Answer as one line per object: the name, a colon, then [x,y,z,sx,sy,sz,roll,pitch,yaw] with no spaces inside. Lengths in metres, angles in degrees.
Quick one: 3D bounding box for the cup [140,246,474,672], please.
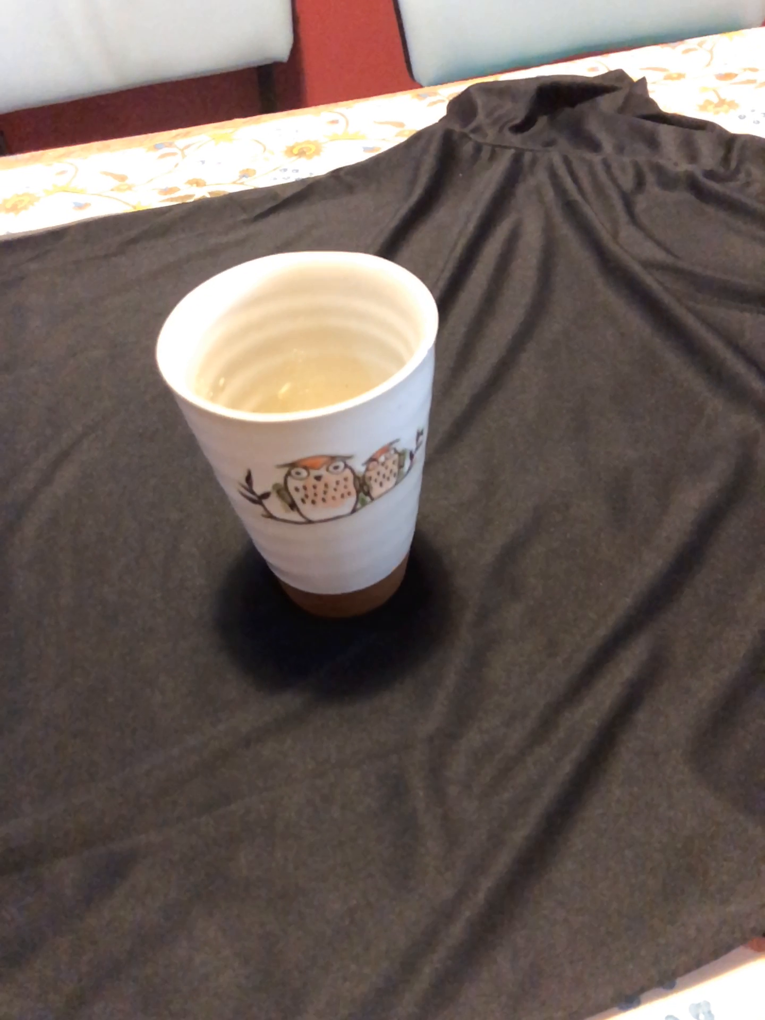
cup: [-0.012,-0.014,0.272,0.080,0.099,0.091,-1,47,7]
